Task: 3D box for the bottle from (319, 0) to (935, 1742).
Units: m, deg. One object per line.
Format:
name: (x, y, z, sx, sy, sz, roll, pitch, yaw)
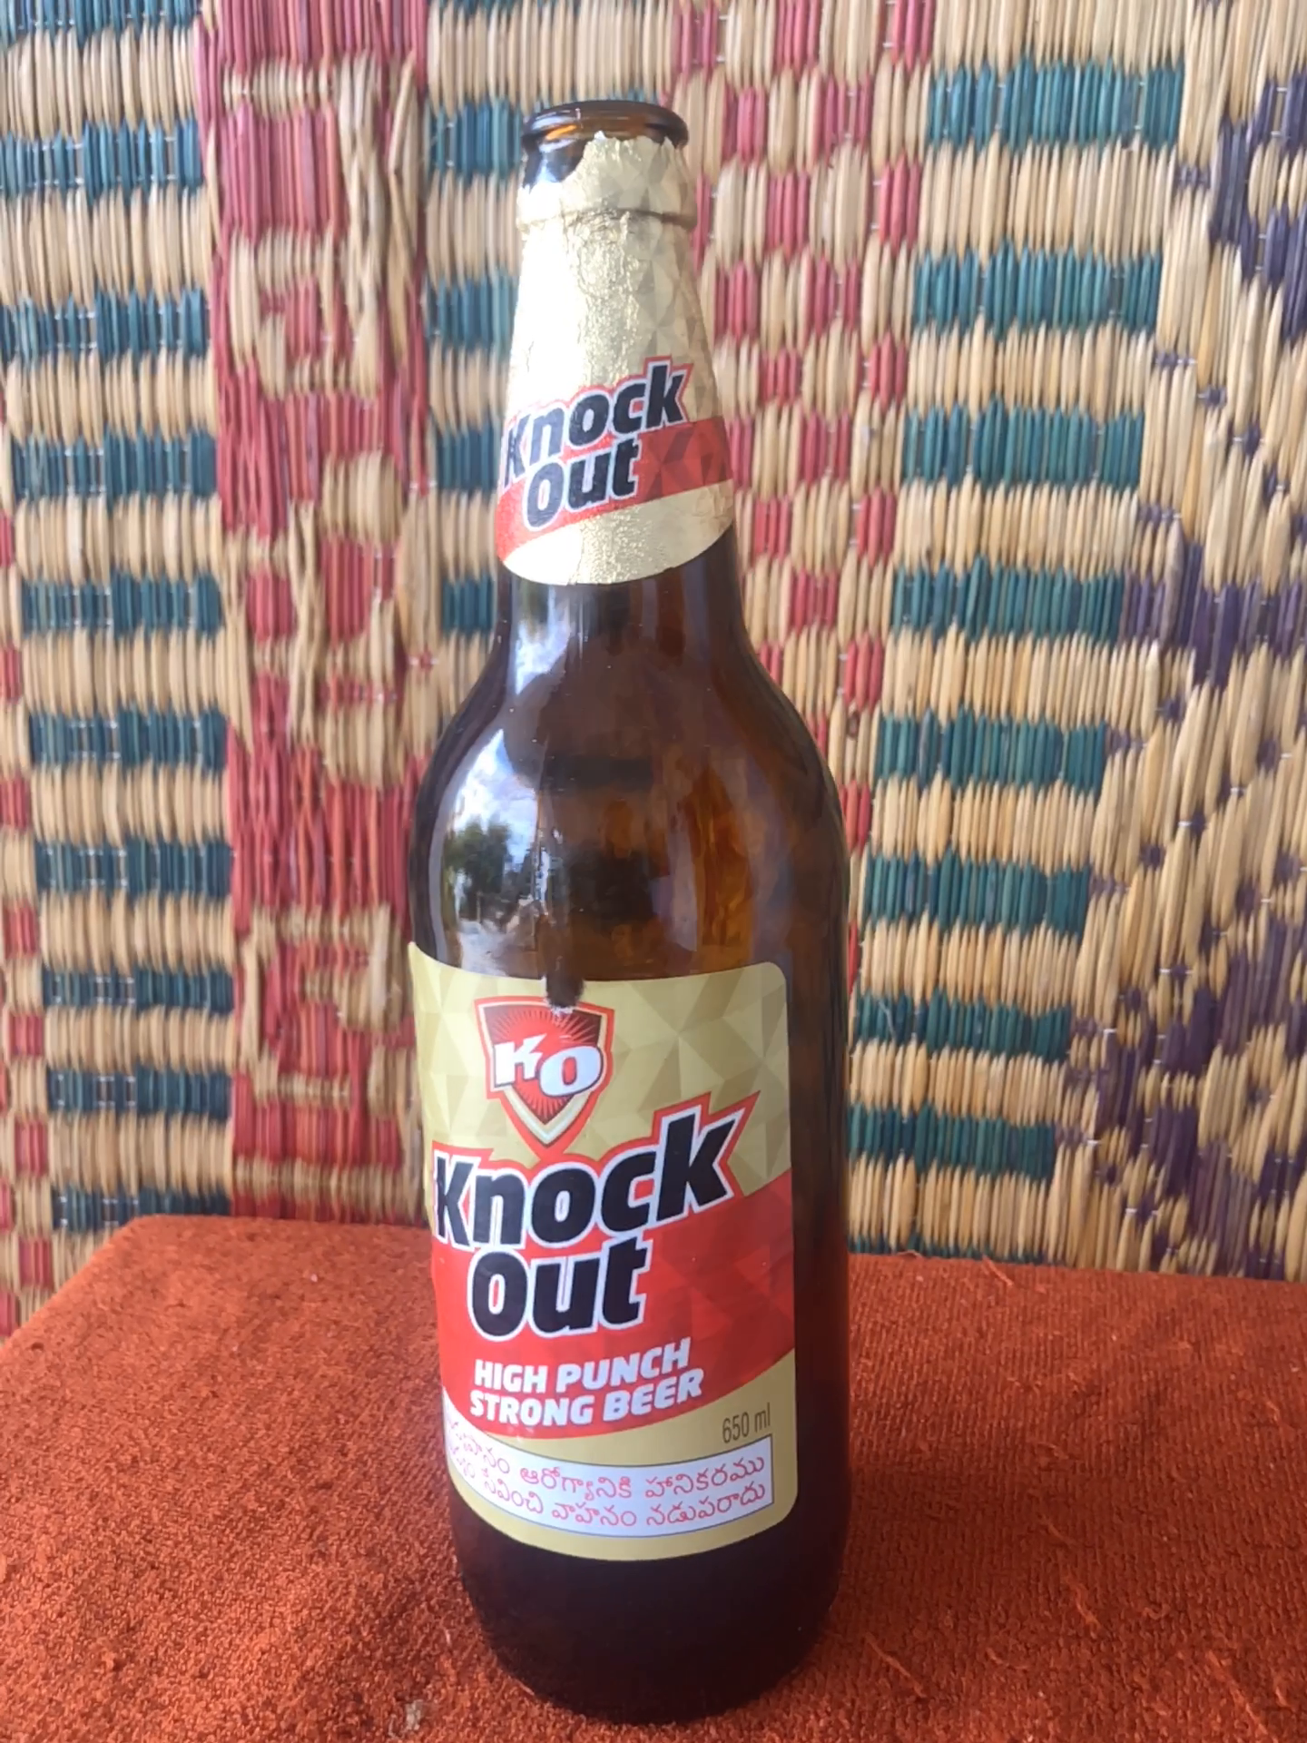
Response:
bottle: (0.004, 0.011, 0.234, 0.070, 0.249, 0.070, -1, 15, 0)
